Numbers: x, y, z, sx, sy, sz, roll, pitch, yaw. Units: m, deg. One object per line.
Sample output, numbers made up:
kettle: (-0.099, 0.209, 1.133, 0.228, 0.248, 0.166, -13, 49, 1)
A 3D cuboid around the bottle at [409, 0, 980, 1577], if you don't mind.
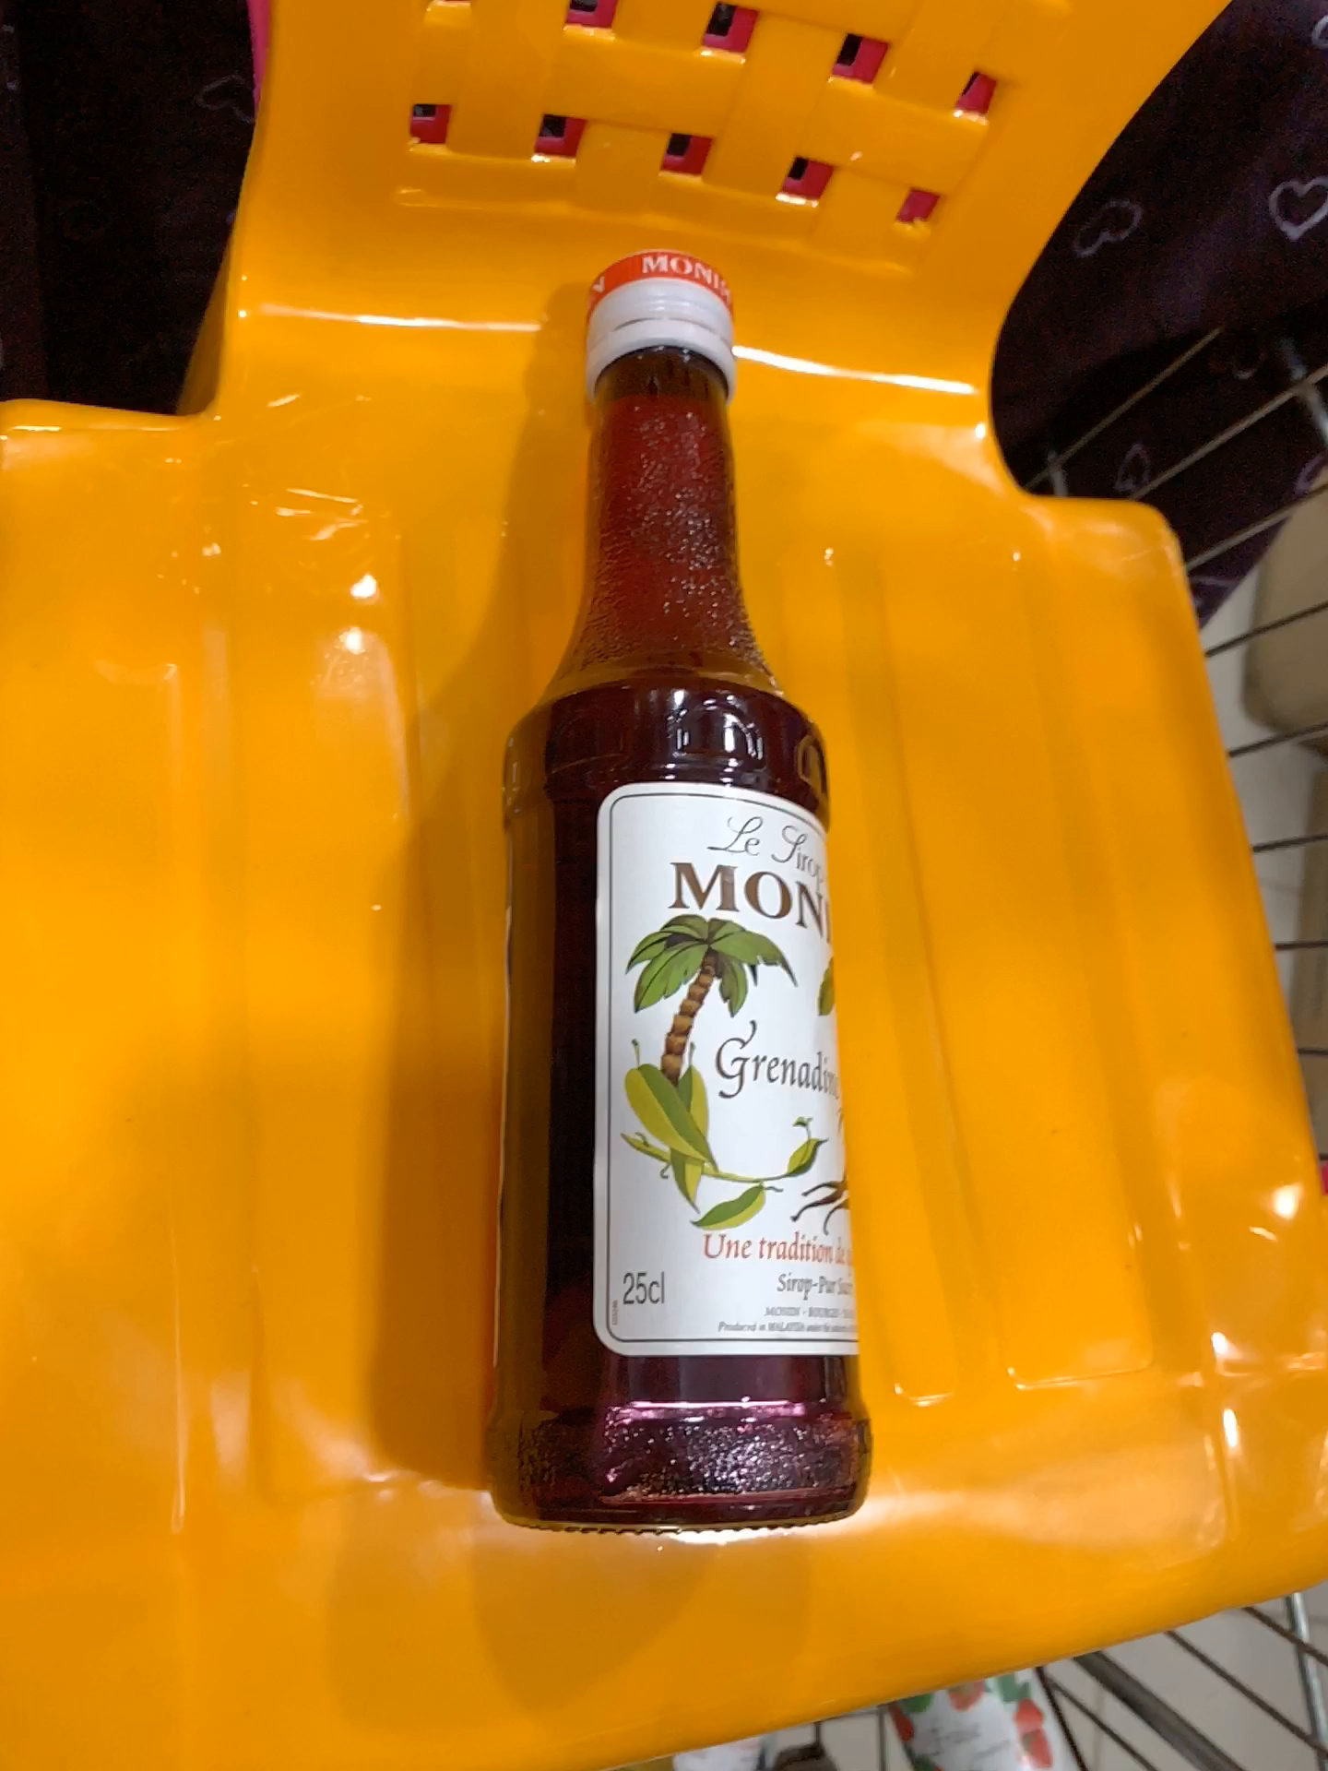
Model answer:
bottle: (0.003, -0.026, 0.225, 0.060, 0.050, 0.240, 23, 58, -49)
